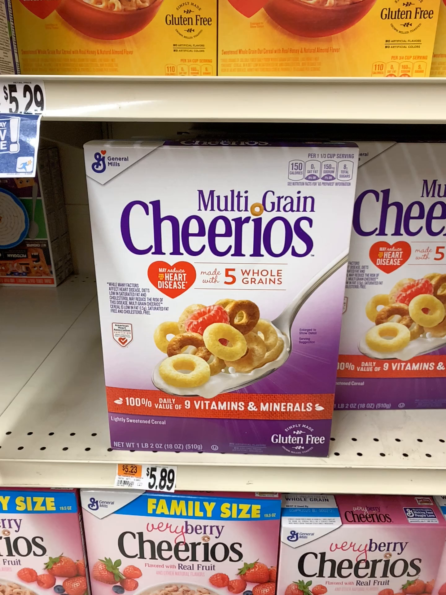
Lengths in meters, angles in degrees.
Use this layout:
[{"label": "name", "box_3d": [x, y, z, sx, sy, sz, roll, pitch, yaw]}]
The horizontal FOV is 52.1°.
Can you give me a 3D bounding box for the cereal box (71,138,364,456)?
[{"label": "cereal box", "box_3d": [-0.006, 0.005, 0.475, 0.250, 0.319, 0.070, 1, 19, 2]}]
